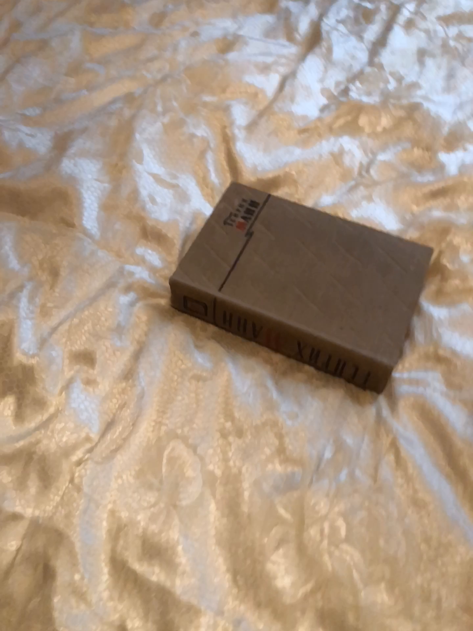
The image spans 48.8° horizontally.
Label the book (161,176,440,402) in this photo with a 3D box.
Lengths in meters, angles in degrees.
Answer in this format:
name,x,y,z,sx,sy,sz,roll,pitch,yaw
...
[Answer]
name,x,y,z,sx,sy,sz,roll,pitch,yaw
book,0.059,-0.032,0.485,0.208,0.051,0.142,22,63,14
